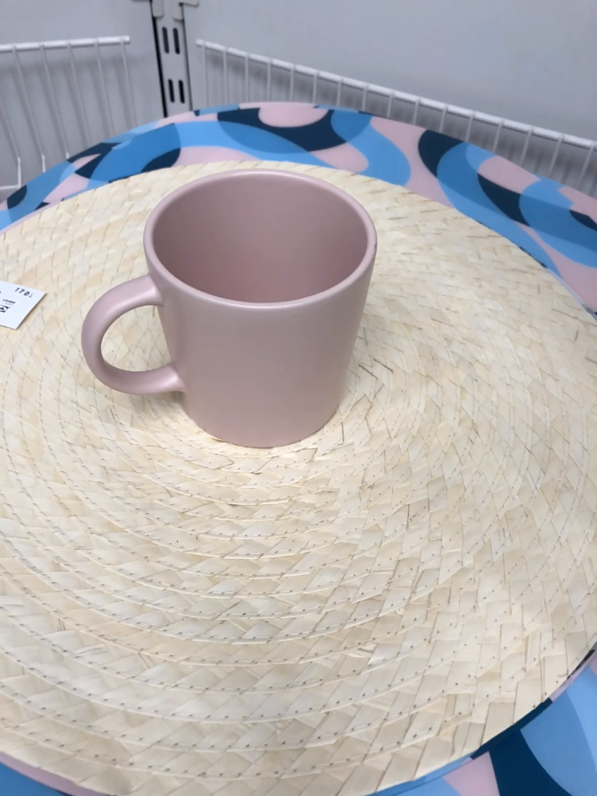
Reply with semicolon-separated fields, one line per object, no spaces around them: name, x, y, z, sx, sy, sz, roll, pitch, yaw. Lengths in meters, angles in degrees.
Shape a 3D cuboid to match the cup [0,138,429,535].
cup;-0.034;-0.032;0.284;0.130;0.090;0.100;-24;52;-23
